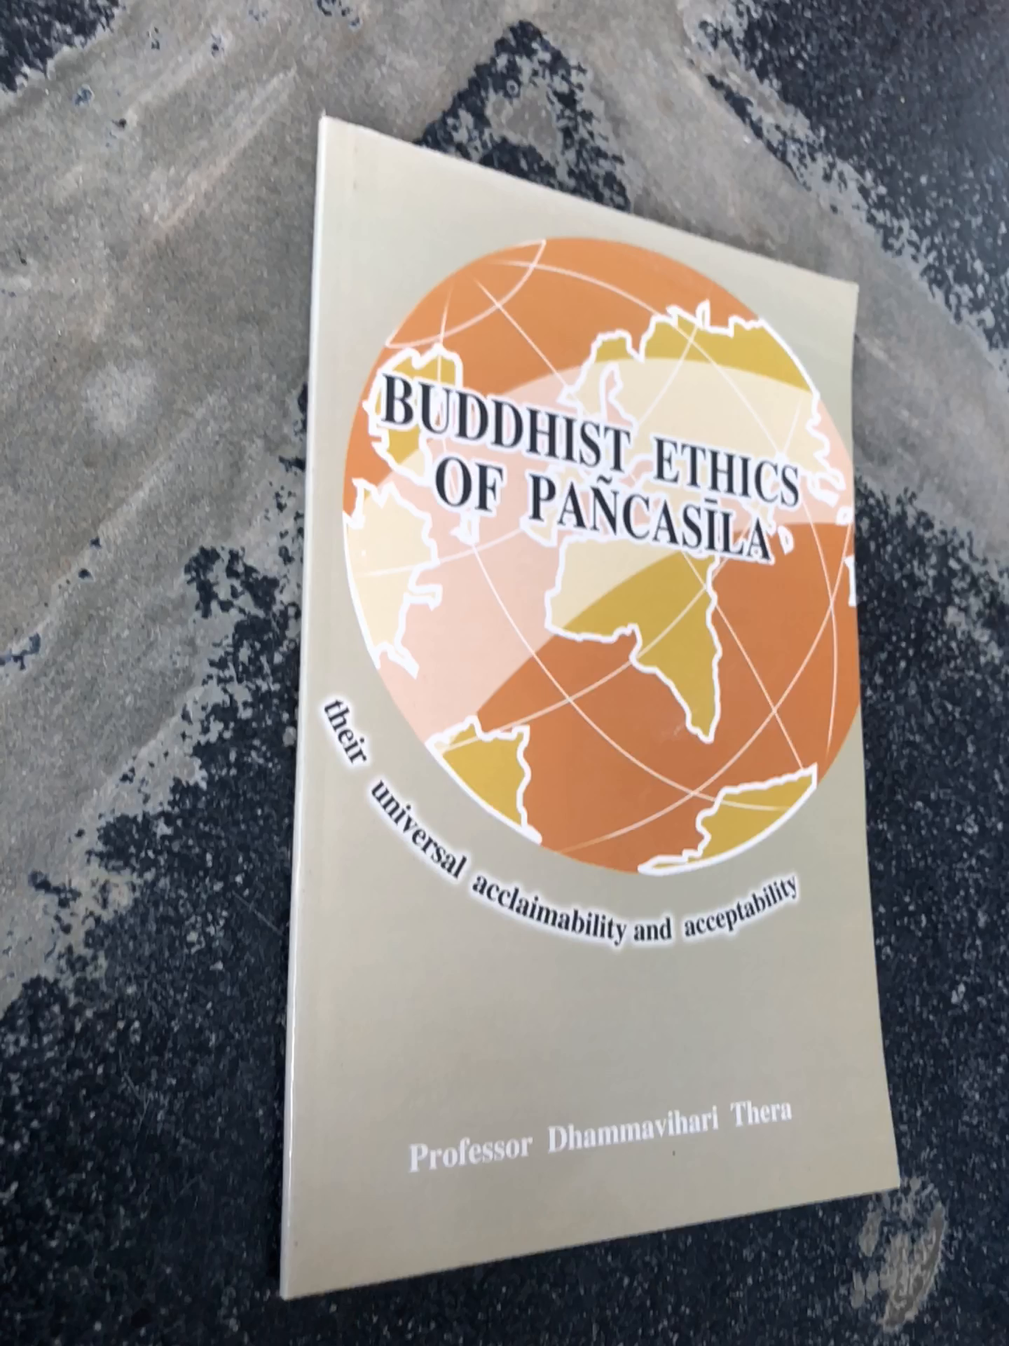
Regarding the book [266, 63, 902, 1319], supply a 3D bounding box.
[{"bbox_3d":[0.022,-0.001,0.236,0.141,0.010,0.220,5,79,-30],"label":"book"}]
